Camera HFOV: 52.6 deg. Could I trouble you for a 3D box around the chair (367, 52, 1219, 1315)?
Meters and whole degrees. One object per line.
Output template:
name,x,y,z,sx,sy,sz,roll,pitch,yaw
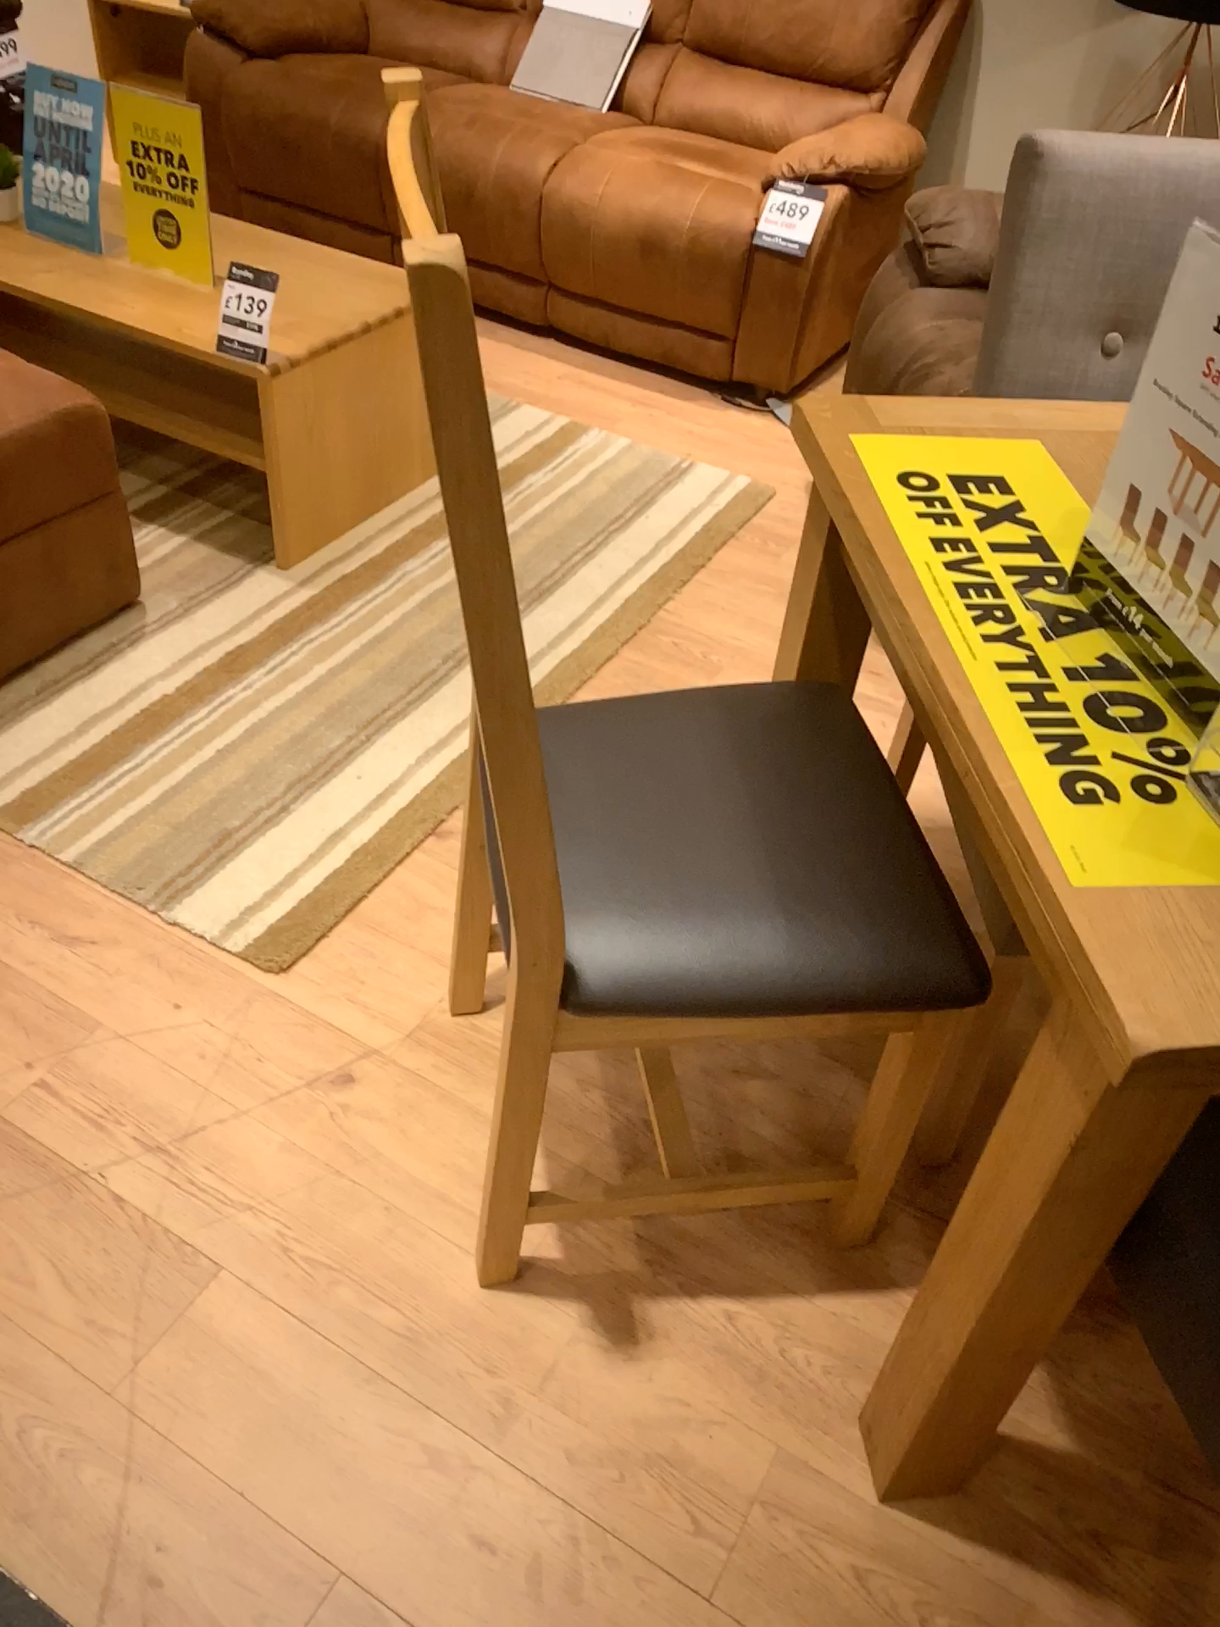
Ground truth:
chair,0.079,-0.034,1.192,0.550,1.099,0.475,-2,42,-8
